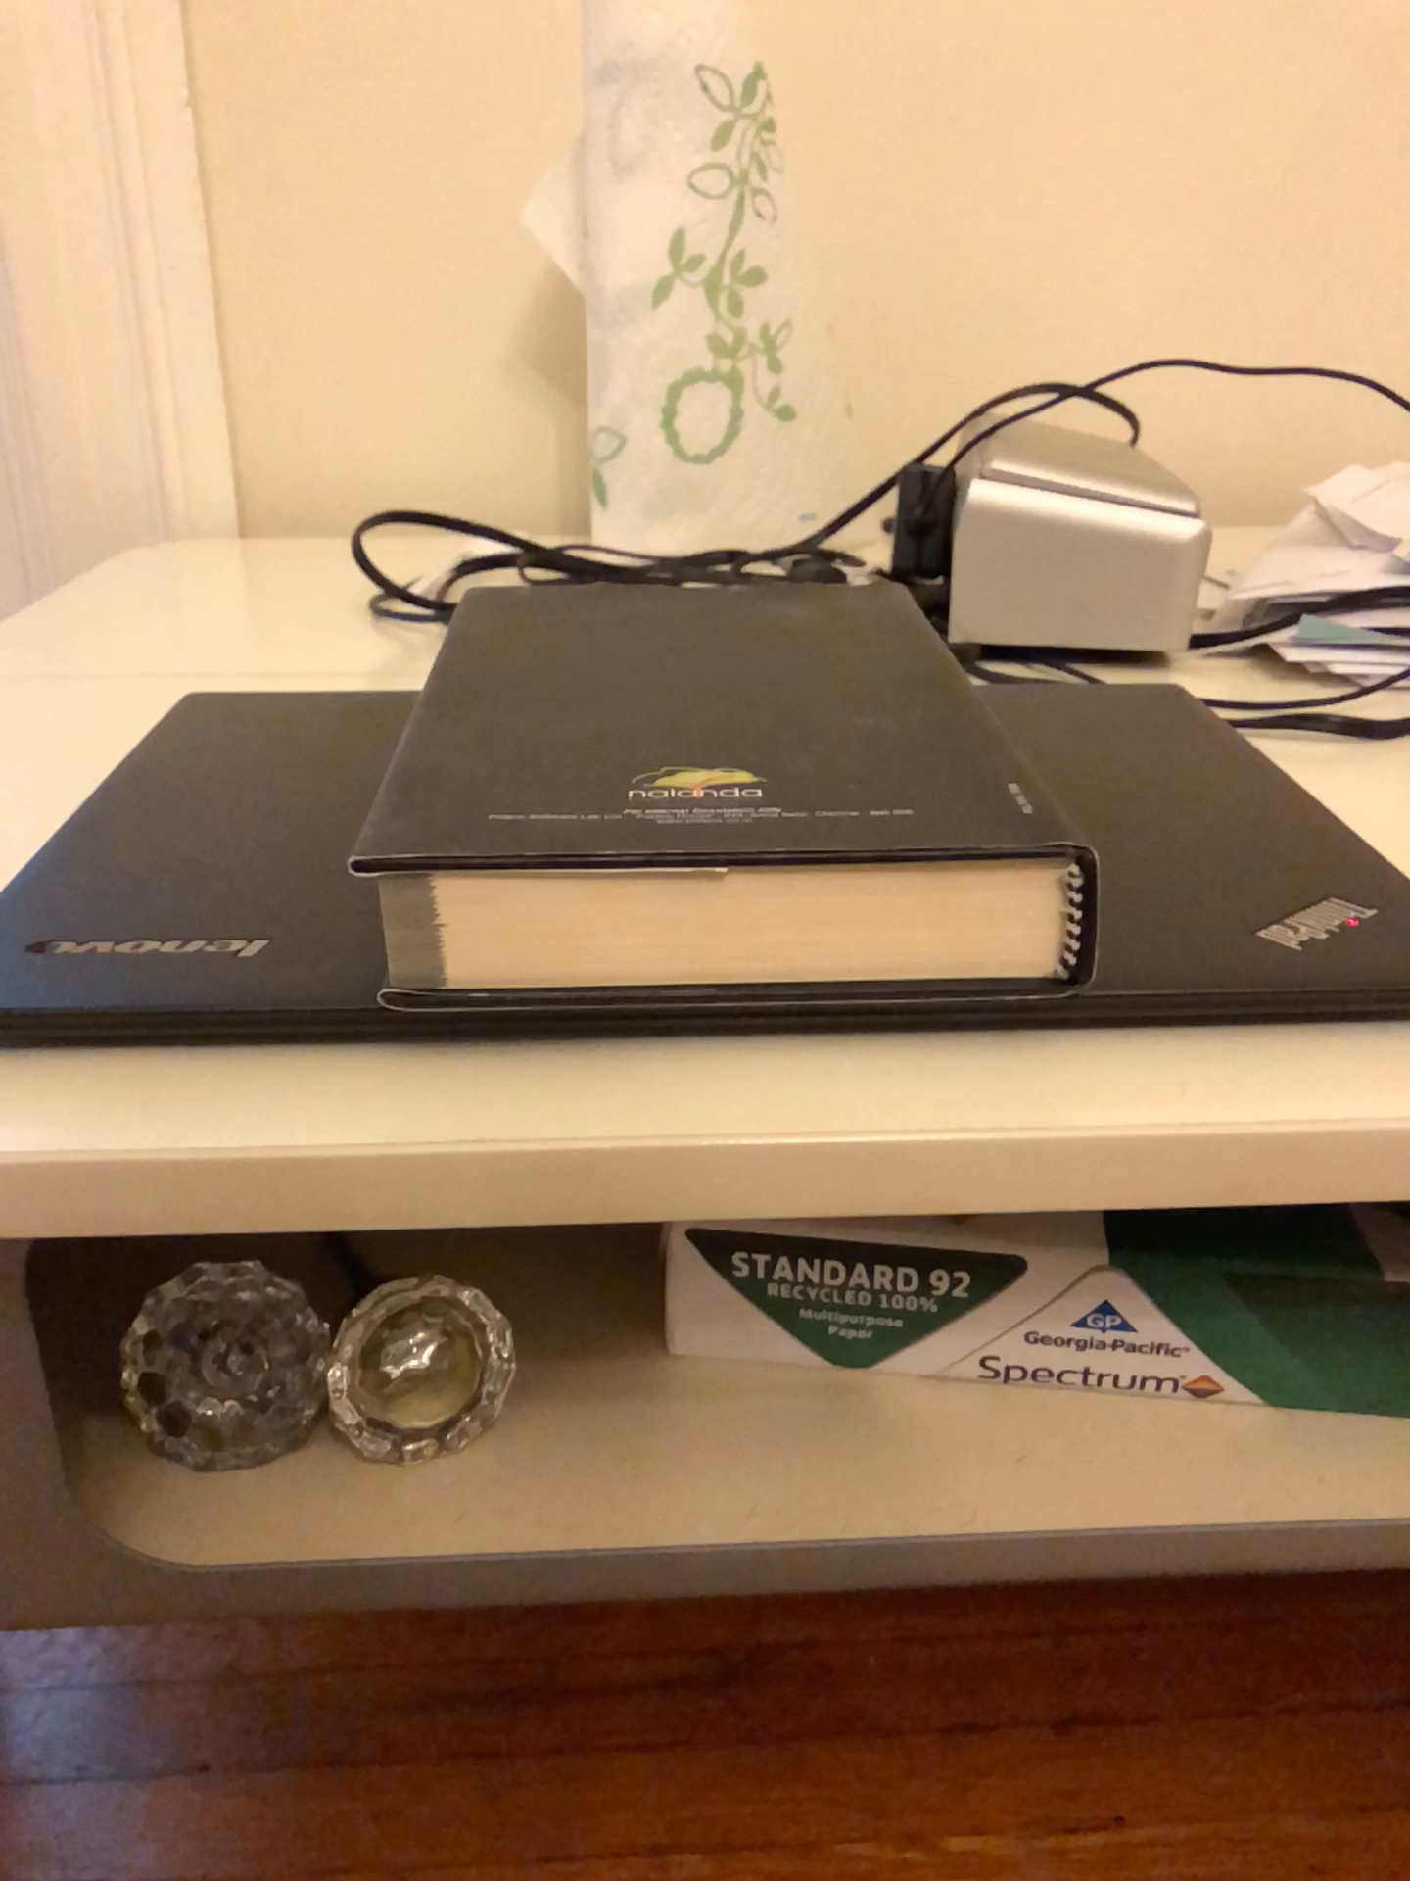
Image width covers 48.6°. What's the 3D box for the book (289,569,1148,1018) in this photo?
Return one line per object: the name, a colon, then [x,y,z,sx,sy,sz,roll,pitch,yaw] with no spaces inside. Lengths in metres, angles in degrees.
book: [-0.002,-0.051,0.386,0.150,0.040,0.231,-1,23,-2]
